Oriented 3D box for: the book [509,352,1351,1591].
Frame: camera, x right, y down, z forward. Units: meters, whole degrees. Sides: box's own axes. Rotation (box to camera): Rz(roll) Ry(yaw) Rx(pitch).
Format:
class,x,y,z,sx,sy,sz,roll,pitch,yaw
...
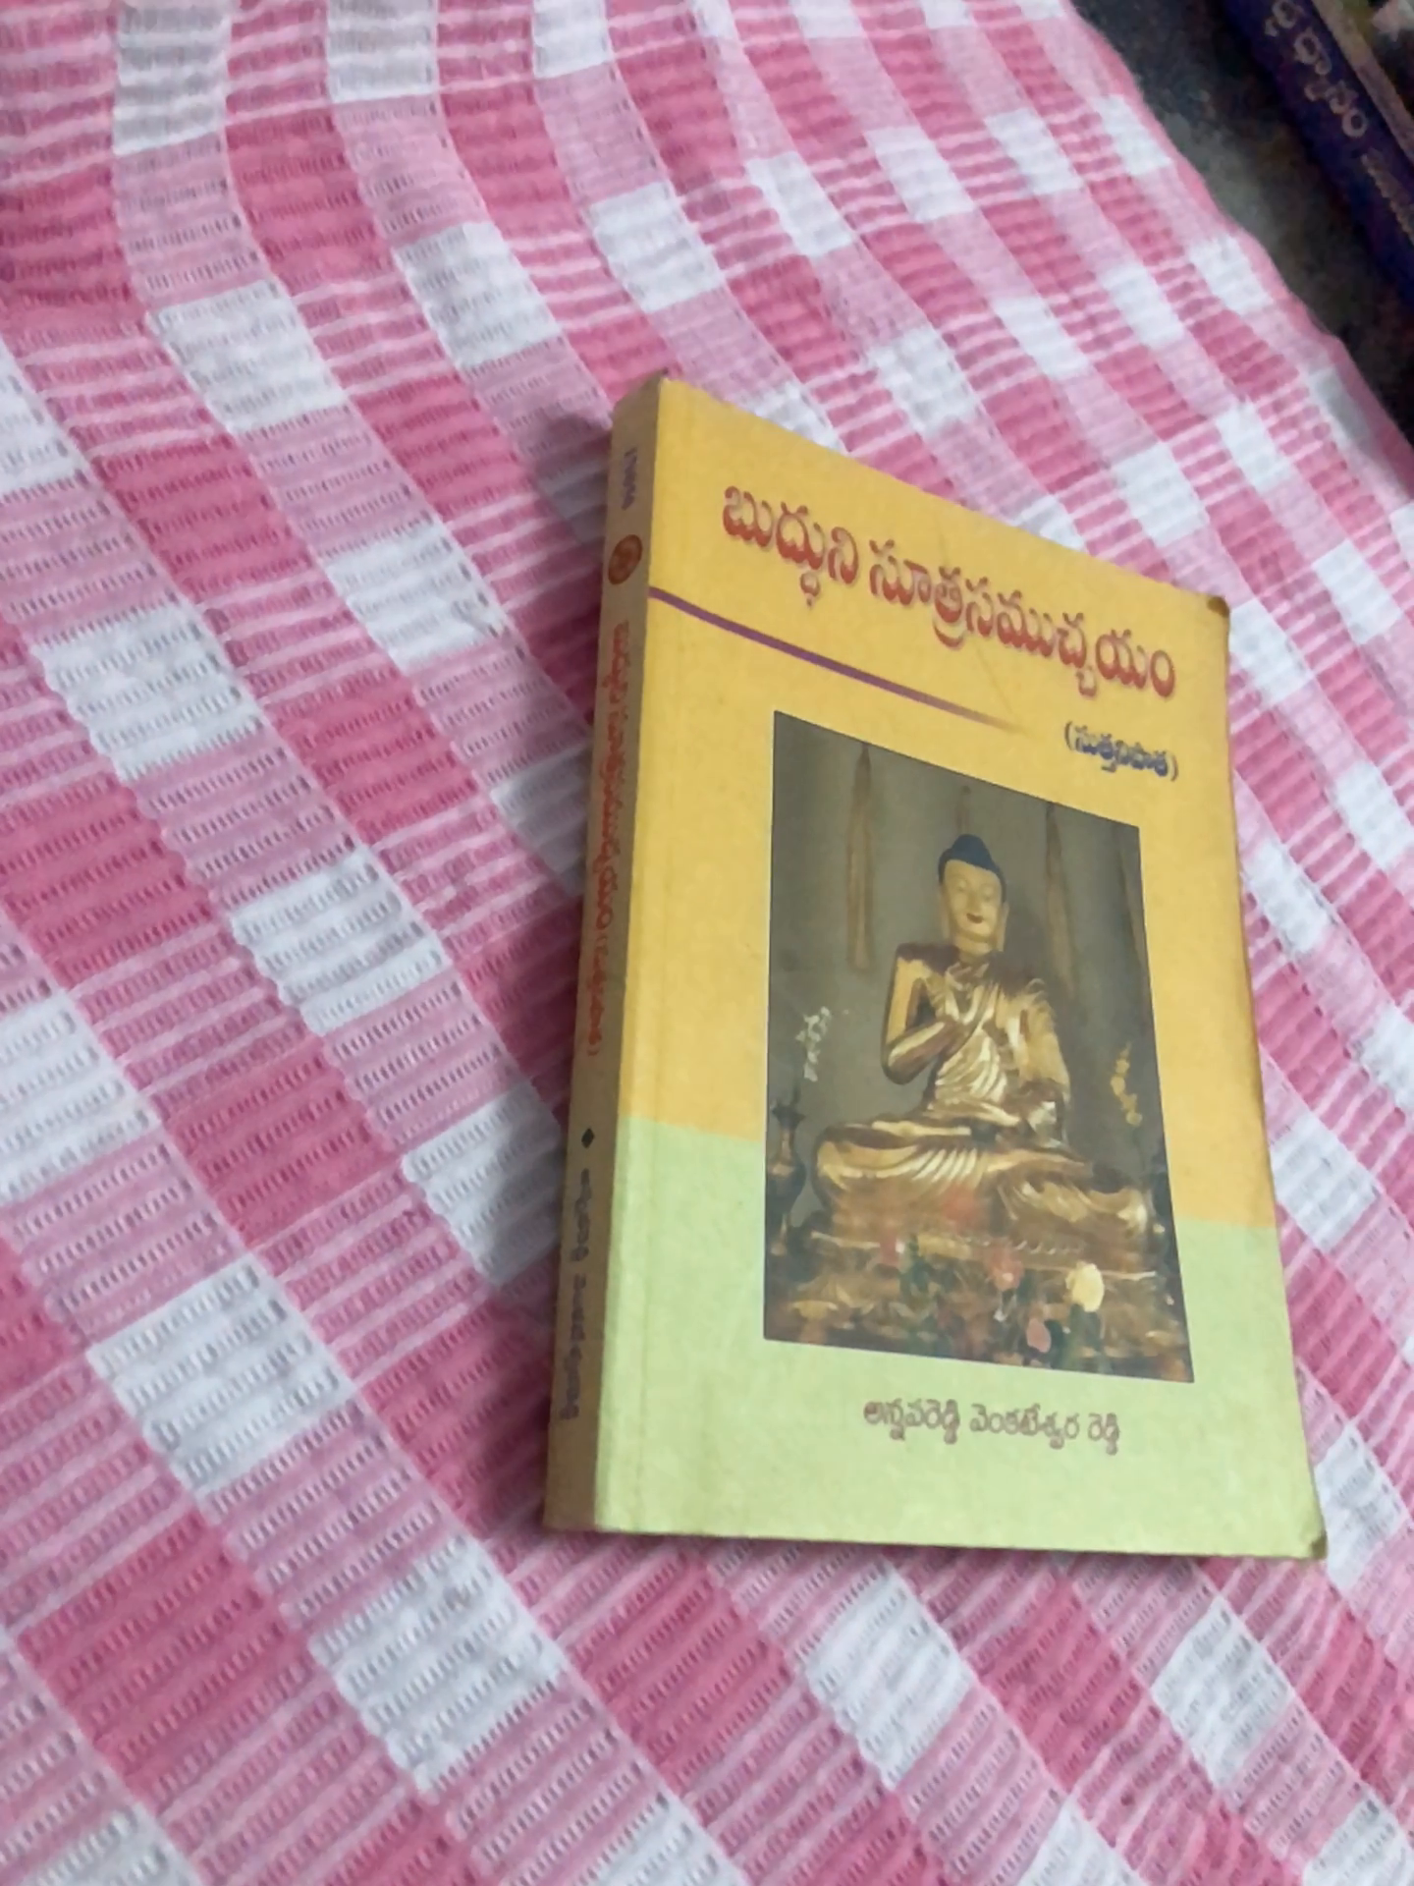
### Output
class,x,y,z,sx,sy,sz,roll,pitch,yaw
book,0.044,0.008,0.297,0.151,0.030,0.210,14,64,-29
